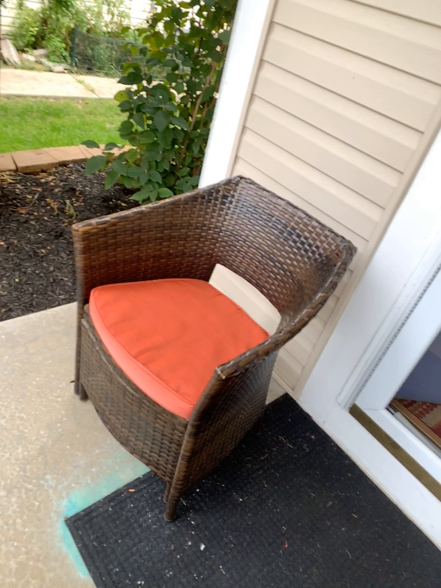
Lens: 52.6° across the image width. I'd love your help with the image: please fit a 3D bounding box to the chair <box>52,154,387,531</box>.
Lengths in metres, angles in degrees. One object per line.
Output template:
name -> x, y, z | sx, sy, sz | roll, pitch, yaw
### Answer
chair -> -0.068, 0.090, 1.371 | 0.608, 0.757, 0.643 | -22, 51, -41
